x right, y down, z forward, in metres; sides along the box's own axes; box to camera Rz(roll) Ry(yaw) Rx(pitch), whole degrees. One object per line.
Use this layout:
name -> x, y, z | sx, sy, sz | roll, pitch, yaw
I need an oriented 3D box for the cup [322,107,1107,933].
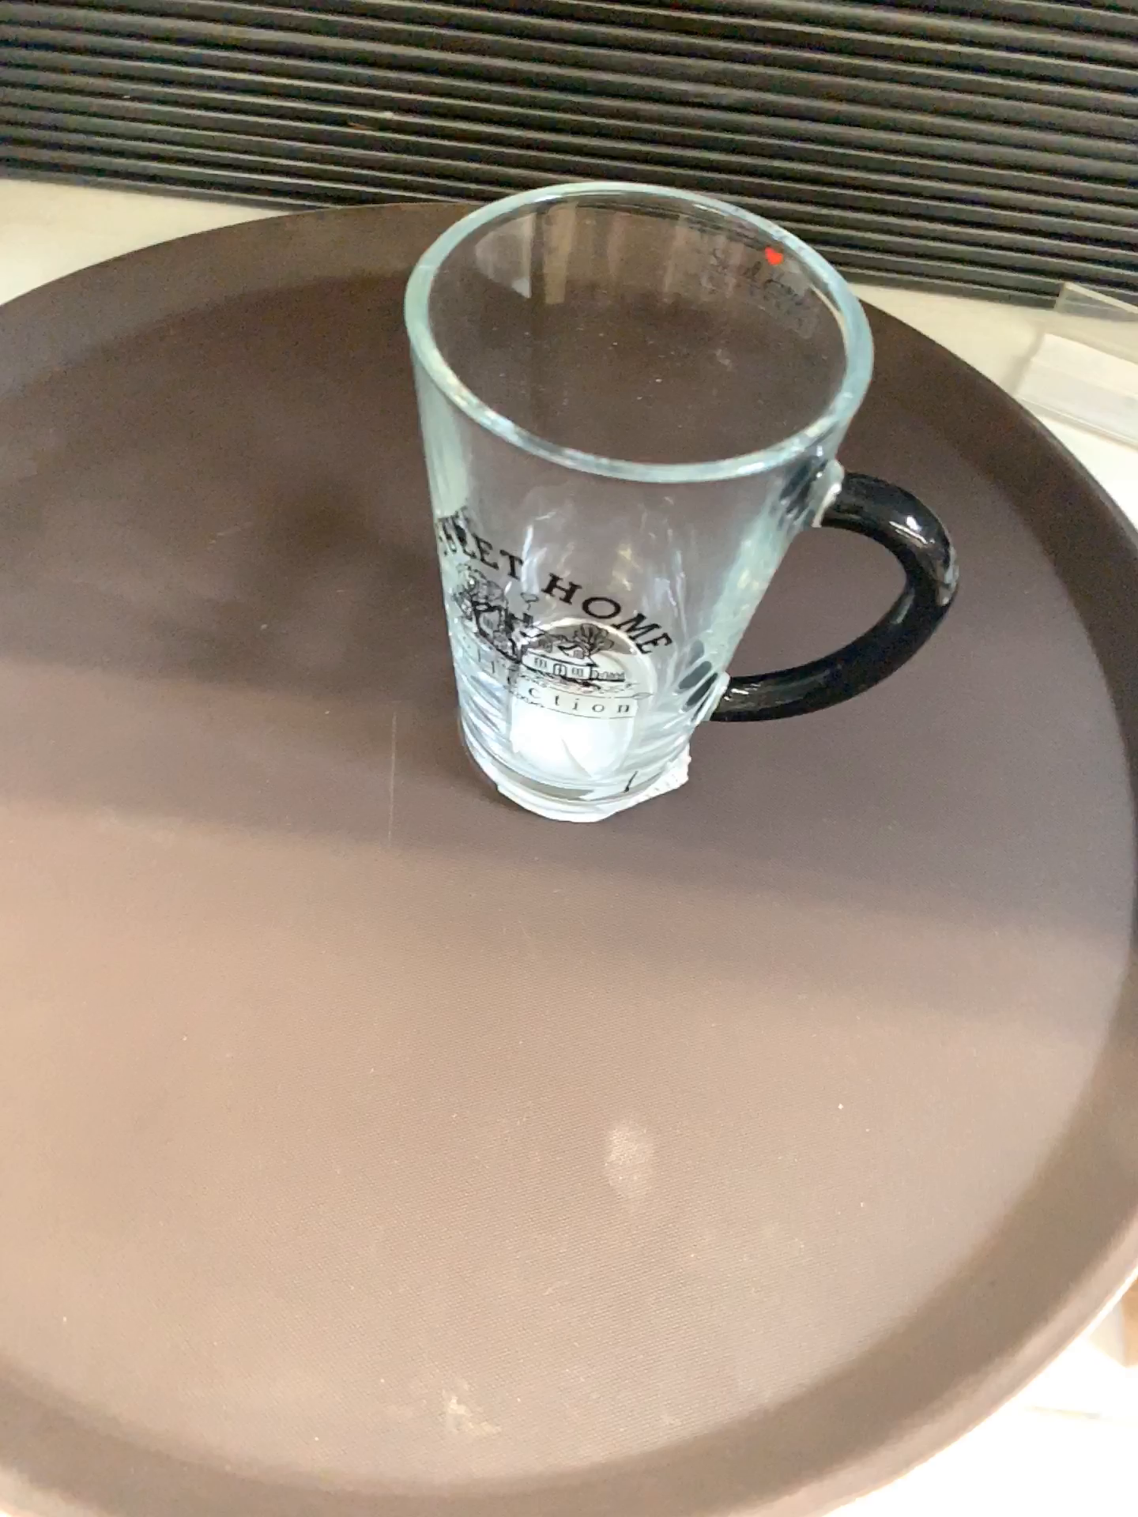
cup -> 0.027, -0.044, 0.251 | 0.120, 0.120, 0.090 | 15, 56, 5
